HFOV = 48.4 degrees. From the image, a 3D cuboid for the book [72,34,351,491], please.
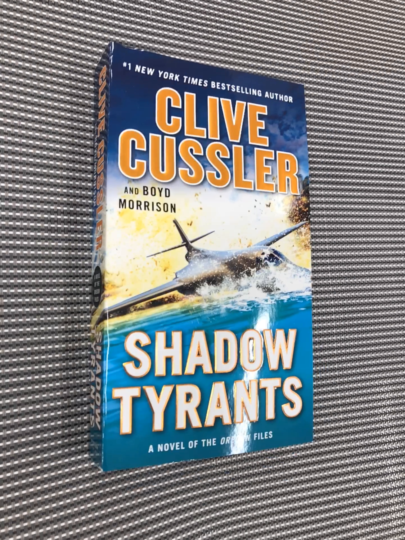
[{"bbox_3d":[0.004,-0.002,0.228,0.120,0.060,0.180,3,82,-24],"label":"book"}]
